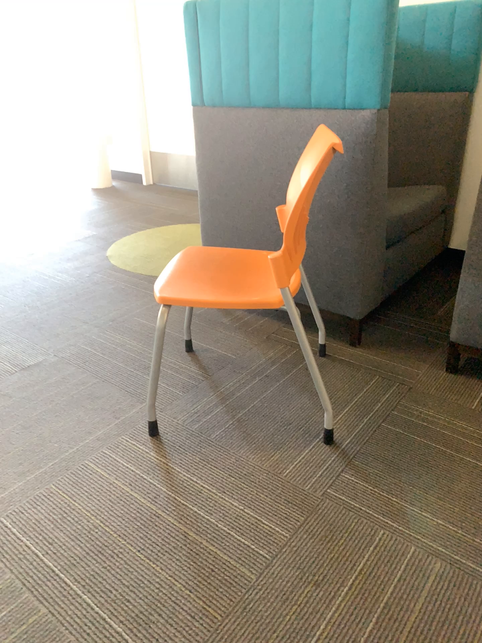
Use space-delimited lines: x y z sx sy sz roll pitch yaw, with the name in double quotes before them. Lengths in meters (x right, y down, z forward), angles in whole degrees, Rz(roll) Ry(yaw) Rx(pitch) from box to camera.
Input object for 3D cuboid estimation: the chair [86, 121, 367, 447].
"chair" -0.004 -0.155 1.522 0.610 0.805 0.644 1 26 5
